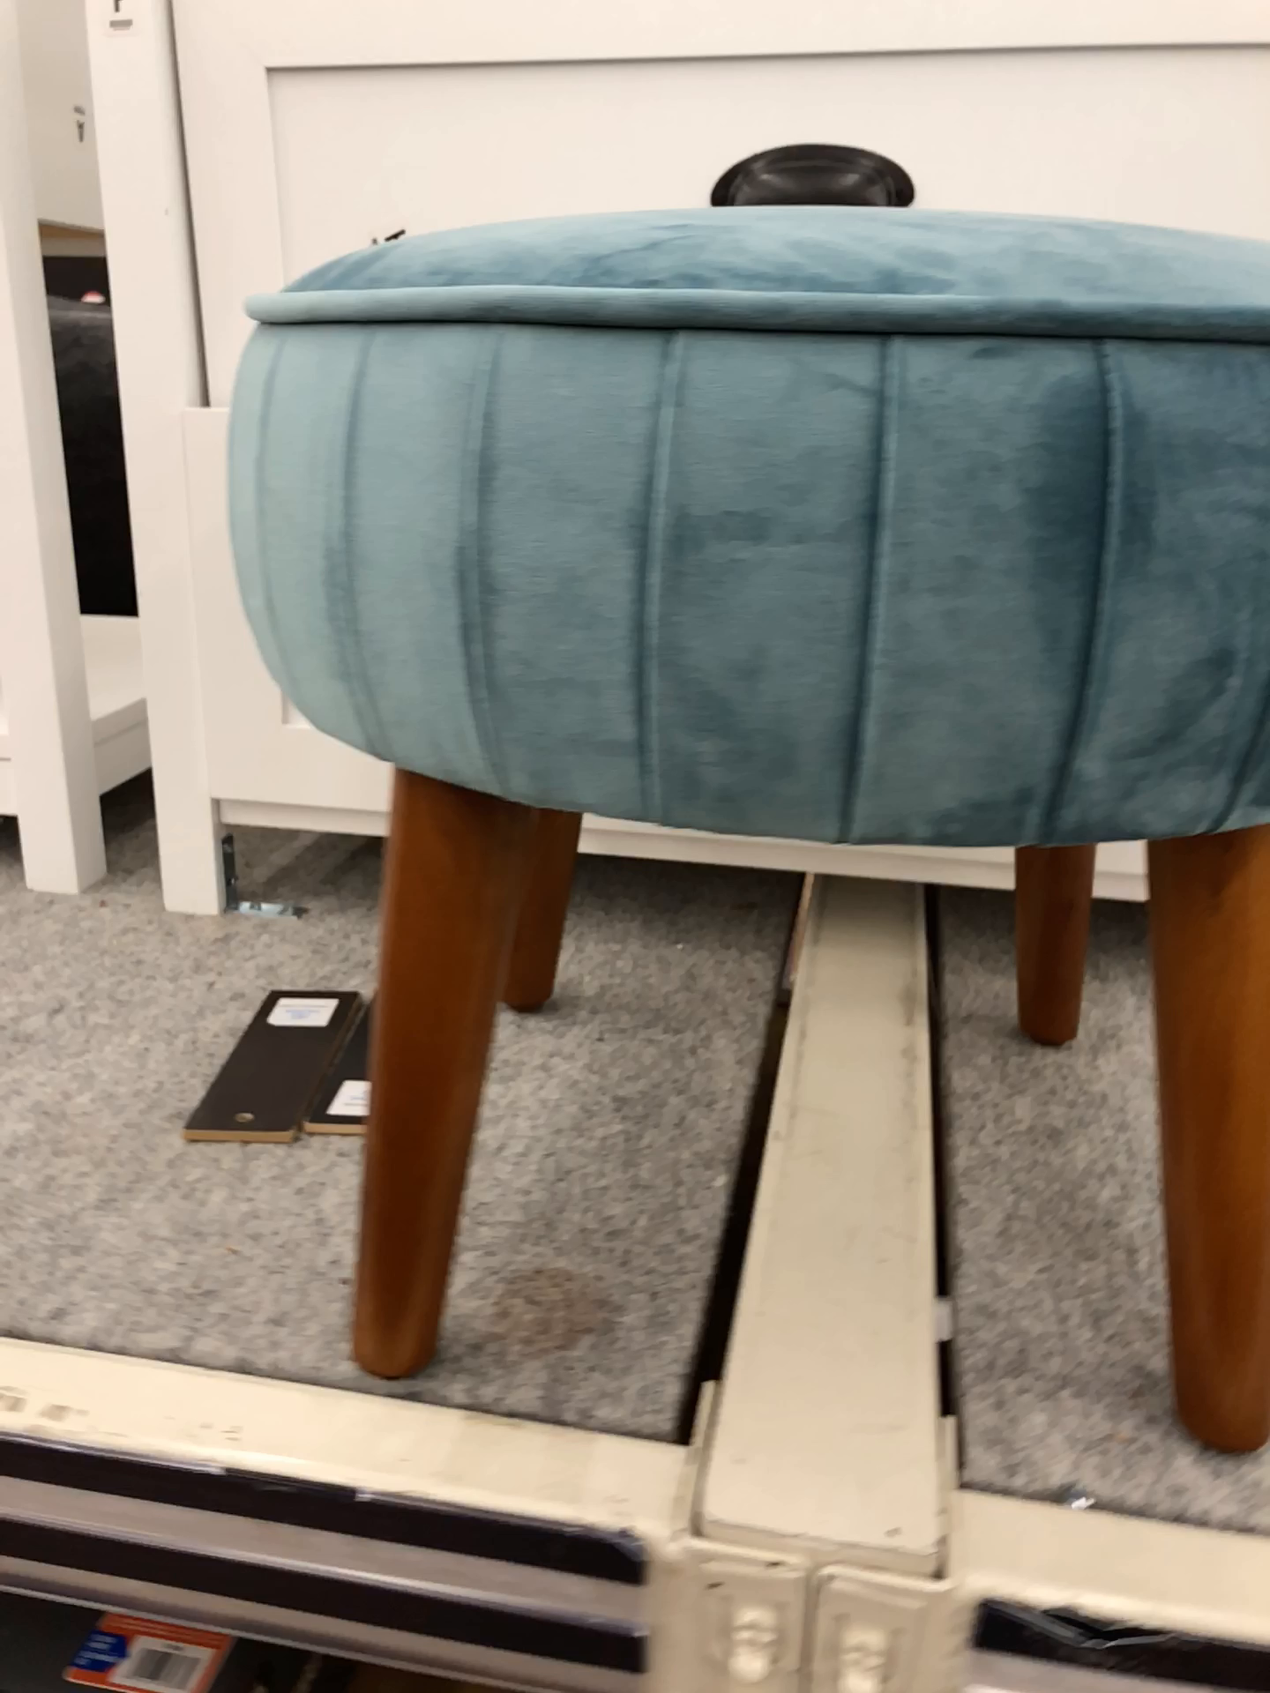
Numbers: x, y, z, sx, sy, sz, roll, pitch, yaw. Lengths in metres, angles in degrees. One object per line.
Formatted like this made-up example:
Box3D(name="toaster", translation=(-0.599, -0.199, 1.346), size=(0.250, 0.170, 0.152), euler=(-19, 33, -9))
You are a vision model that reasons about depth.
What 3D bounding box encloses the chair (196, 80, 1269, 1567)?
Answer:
Box3D(name="chair", translation=(0.099, -0.046, 0.567), size=(0.370, 0.399, 0.371), euler=(5, 19, 10))
